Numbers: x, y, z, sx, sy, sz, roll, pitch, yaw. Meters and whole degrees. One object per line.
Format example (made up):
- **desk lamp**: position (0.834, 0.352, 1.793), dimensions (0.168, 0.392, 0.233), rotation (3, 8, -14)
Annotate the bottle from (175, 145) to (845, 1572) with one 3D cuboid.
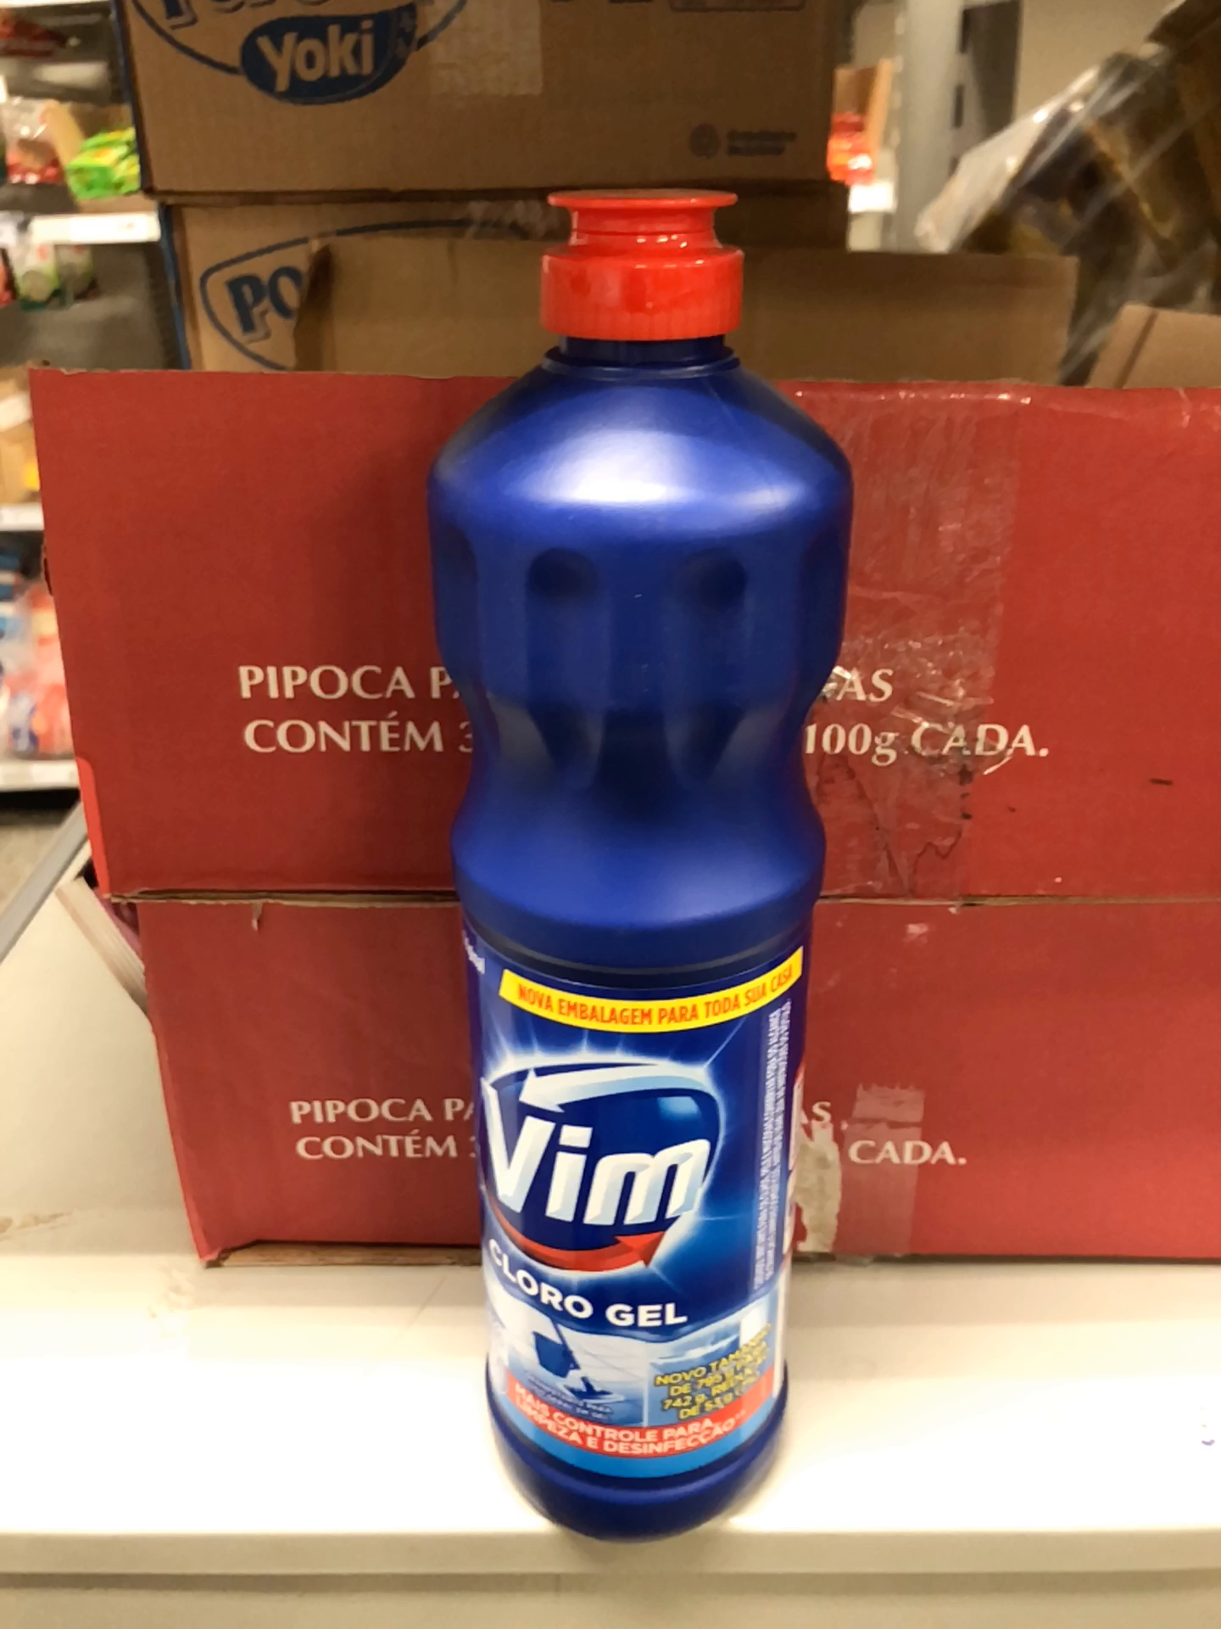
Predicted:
- **bottle**: position (-0.004, 0.018, 0.229), dimensions (0.070, 0.228, 0.060), rotation (6, 28, 16)
